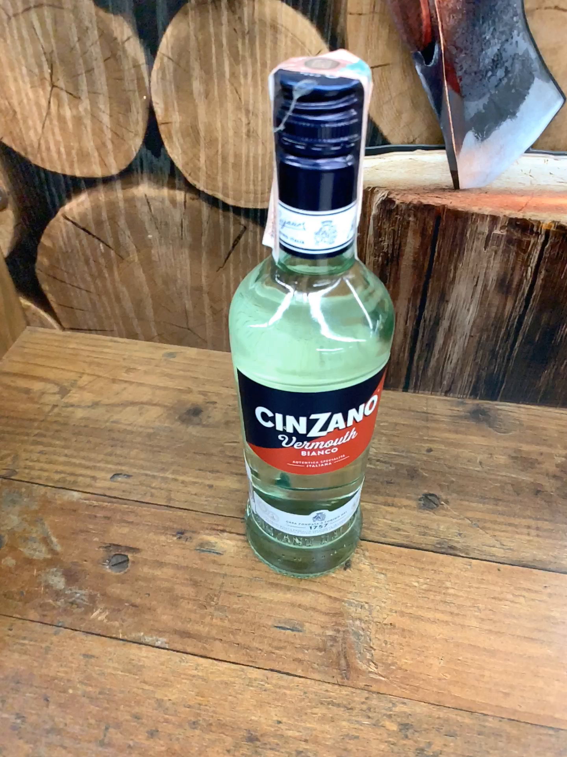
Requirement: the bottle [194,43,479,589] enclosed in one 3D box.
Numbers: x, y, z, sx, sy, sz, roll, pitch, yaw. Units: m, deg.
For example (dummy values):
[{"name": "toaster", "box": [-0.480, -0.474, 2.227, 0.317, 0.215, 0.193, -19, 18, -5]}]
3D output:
[{"name": "bottle", "box": [0.010, -0.002, 0.247, 0.070, 0.231, 0.070, 0, 43, 0]}]
